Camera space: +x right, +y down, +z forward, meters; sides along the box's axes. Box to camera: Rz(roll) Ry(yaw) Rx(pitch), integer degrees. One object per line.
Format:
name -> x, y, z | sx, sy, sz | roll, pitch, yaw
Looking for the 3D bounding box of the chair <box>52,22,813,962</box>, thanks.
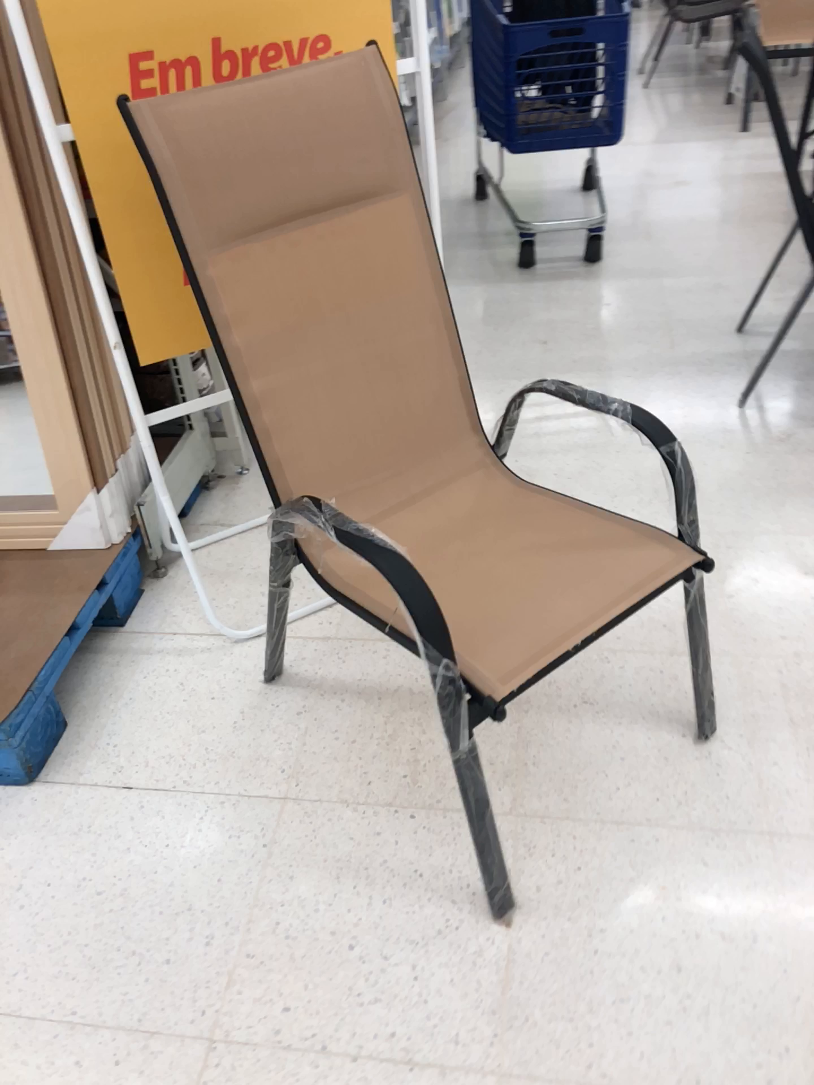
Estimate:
chair -> 0.077, -0.121, 1.267 | 0.622, 0.973, 0.703 | -29, 41, -27
